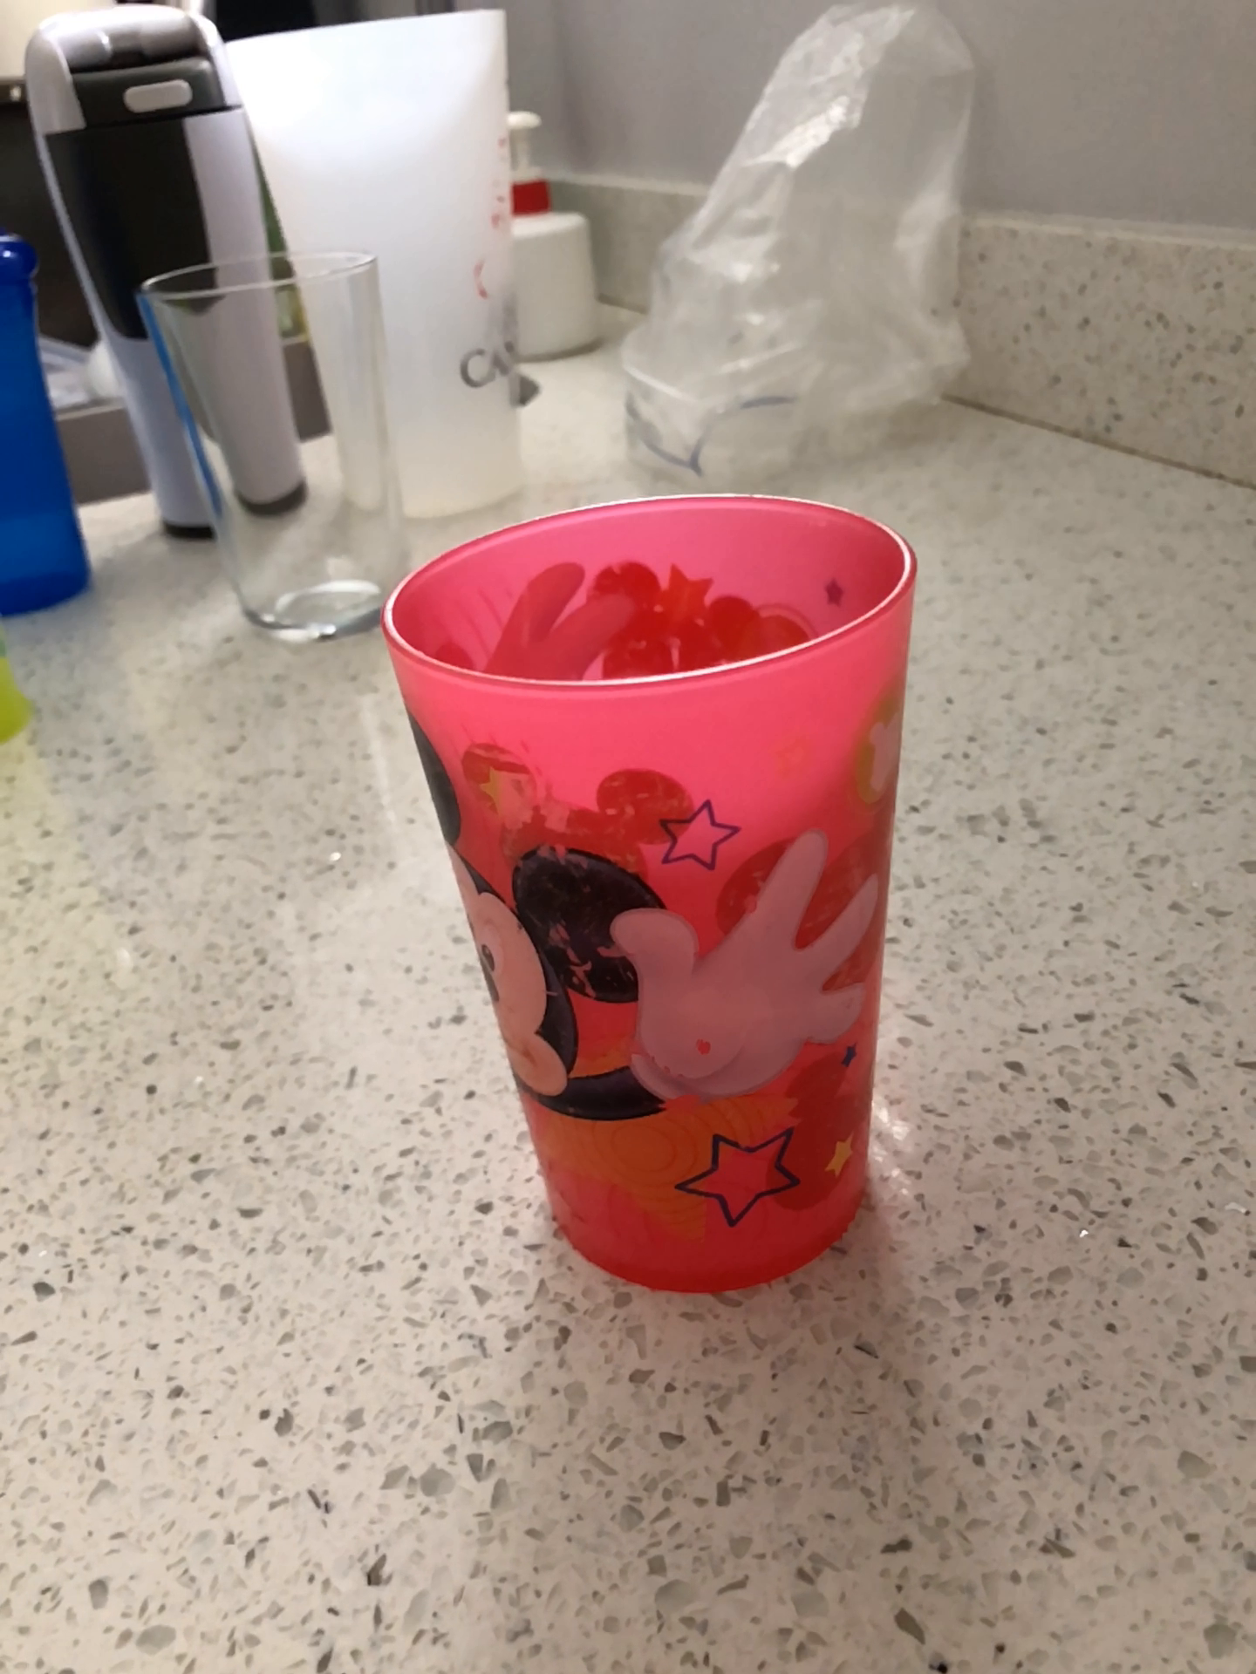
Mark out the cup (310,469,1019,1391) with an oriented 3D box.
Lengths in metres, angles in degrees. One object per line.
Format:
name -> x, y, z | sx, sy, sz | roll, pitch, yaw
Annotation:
cup -> 0.005, 0.008, 0.206 | 0.071, 0.096, 0.074 | -6, 29, 3
